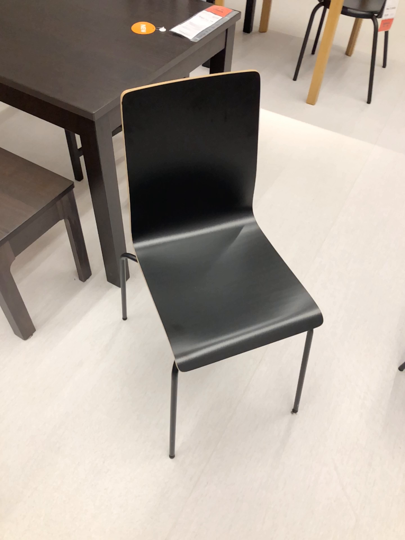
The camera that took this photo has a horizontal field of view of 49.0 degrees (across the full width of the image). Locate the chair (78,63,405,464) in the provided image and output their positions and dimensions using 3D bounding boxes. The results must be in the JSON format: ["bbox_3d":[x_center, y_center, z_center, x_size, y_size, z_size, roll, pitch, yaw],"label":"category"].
[{"bbox_3d":[0.028,0.025,1.127,0.450,0.805,0.533,-14,52,-15],"label":"chair"}]
